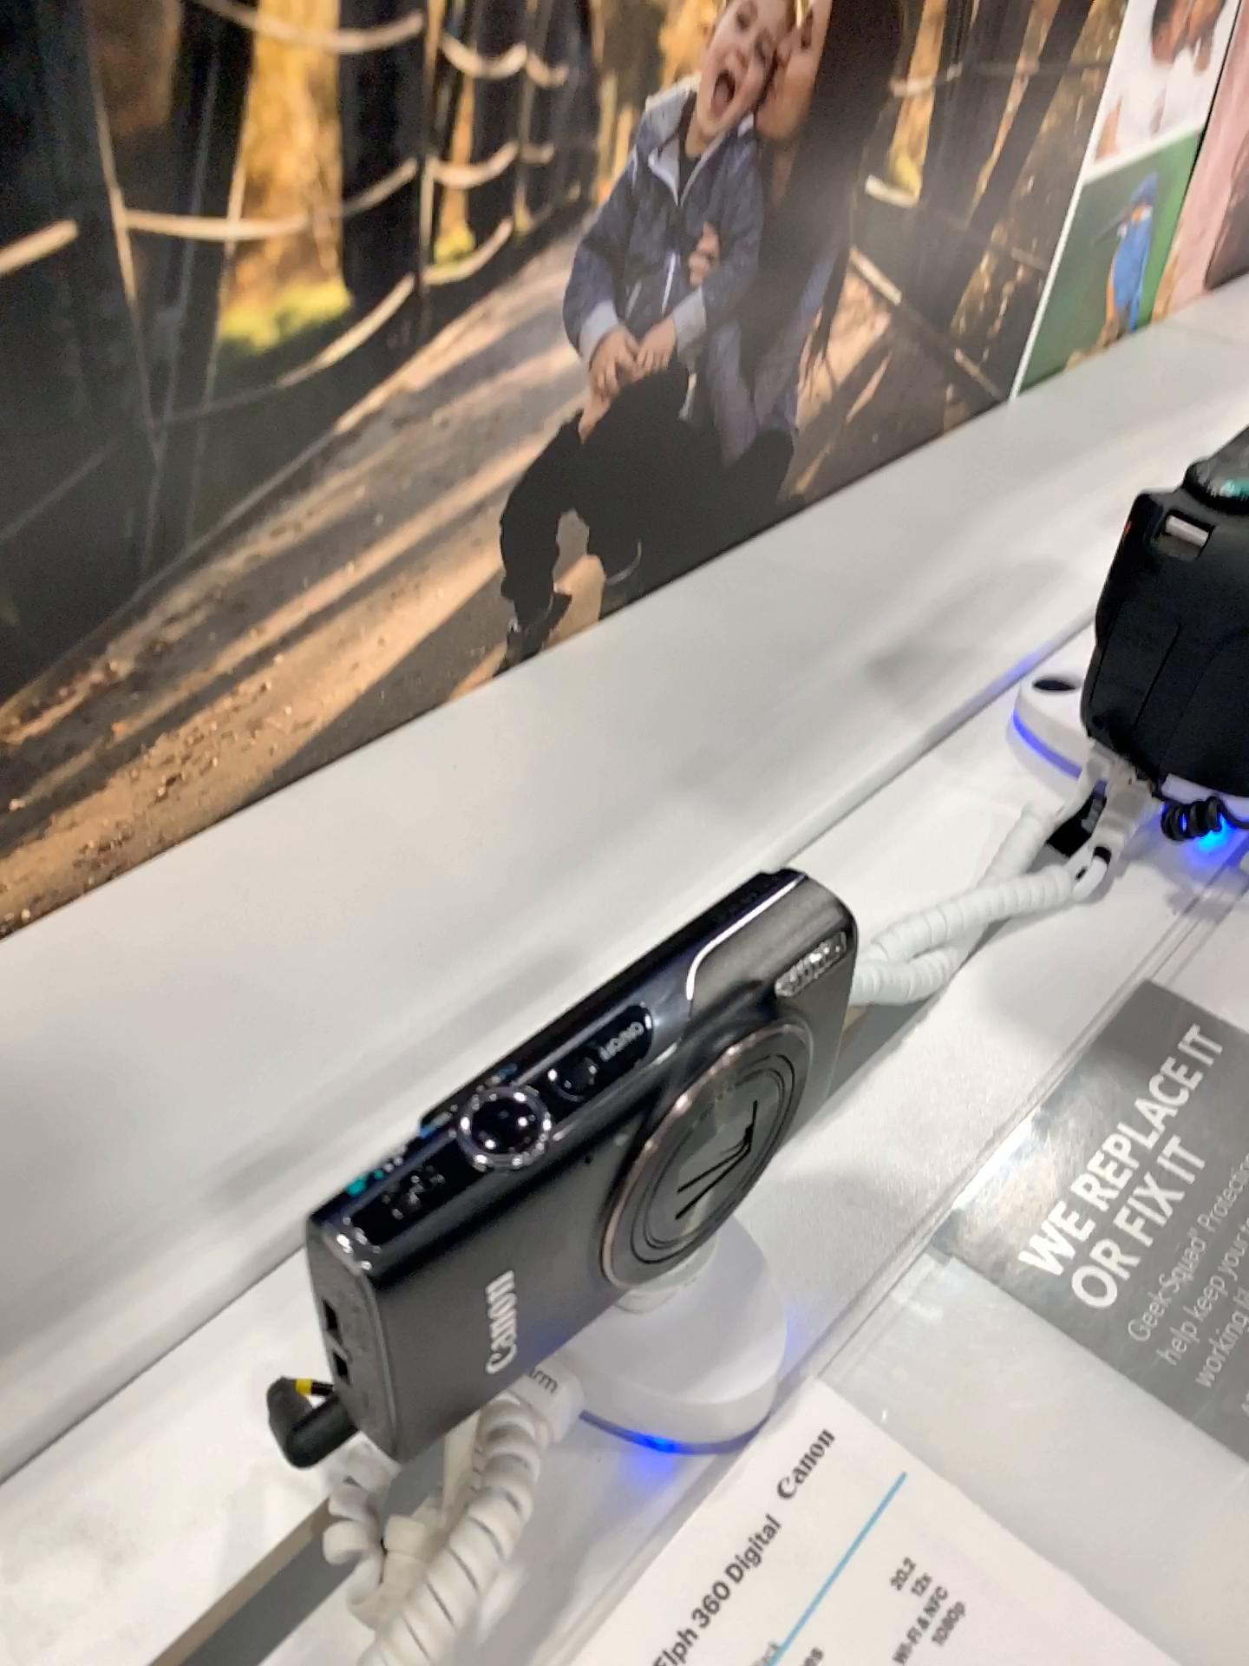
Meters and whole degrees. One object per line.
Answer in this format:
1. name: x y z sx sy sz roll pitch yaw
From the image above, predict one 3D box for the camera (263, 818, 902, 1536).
1. camera: -0.001 0.049 0.205 0.027 0.055 0.106 30 47 31
